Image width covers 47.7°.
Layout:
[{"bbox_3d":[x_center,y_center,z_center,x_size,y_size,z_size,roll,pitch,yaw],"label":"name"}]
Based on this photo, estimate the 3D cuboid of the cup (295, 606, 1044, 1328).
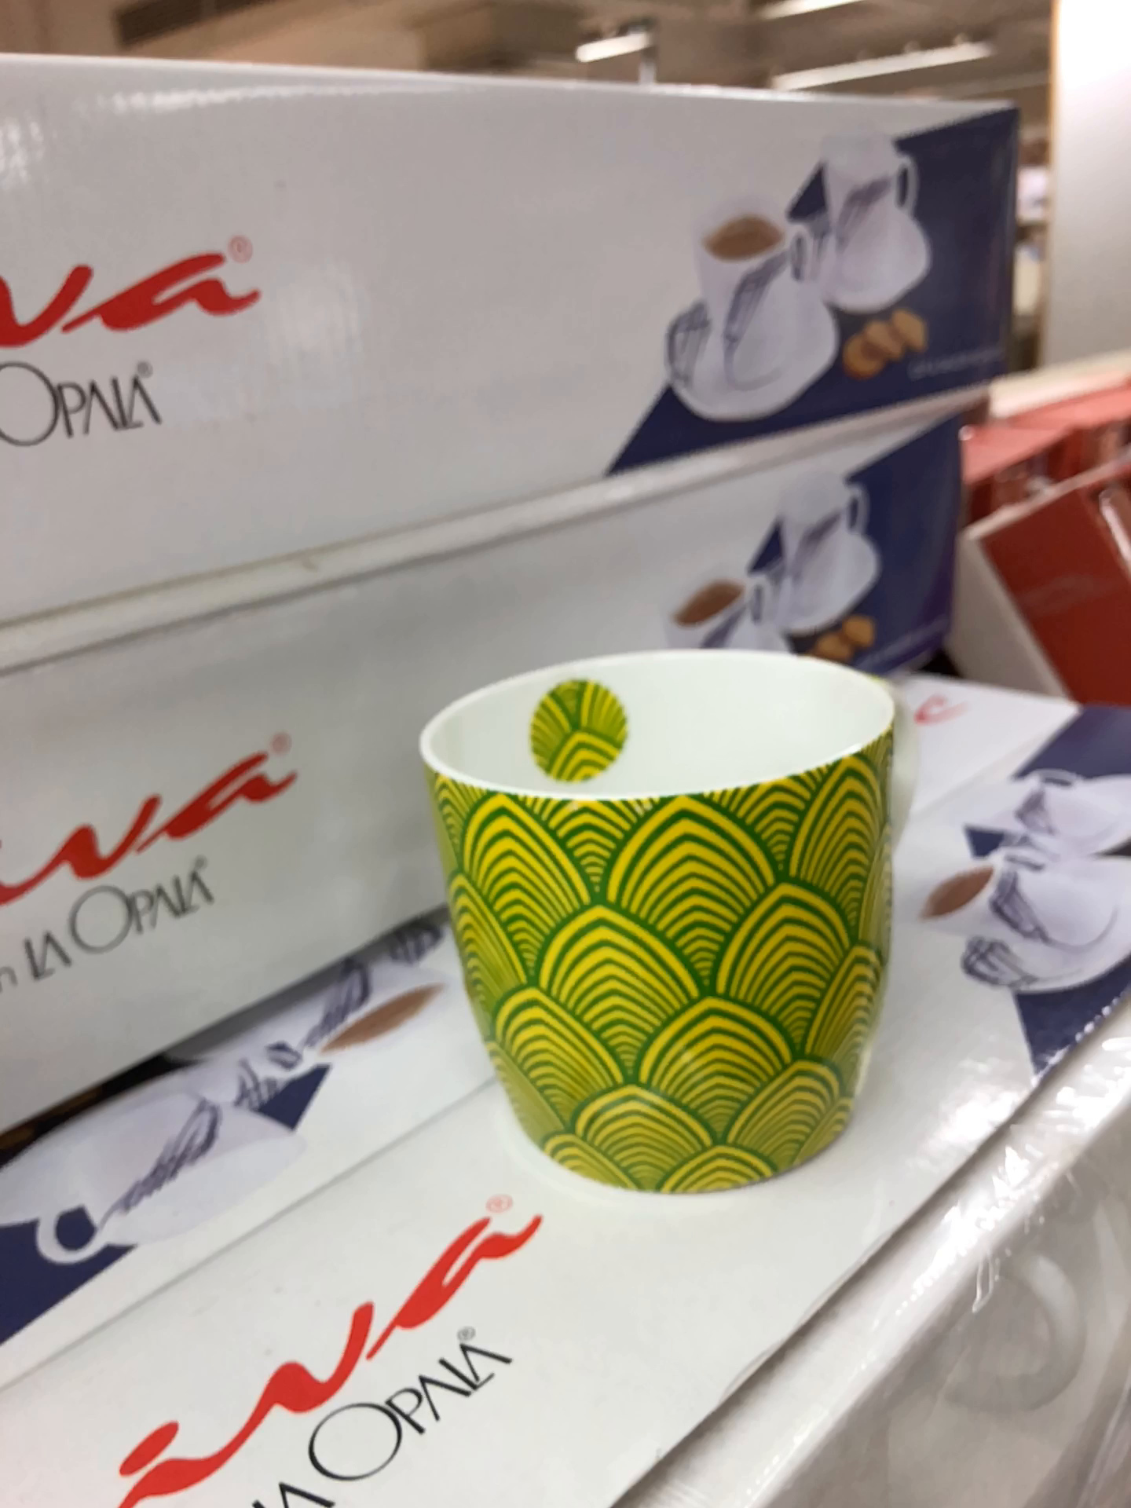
[{"bbox_3d":[0.028,0.026,0.257,0.090,0.080,0.121,10,25,39],"label":"cup"}]
